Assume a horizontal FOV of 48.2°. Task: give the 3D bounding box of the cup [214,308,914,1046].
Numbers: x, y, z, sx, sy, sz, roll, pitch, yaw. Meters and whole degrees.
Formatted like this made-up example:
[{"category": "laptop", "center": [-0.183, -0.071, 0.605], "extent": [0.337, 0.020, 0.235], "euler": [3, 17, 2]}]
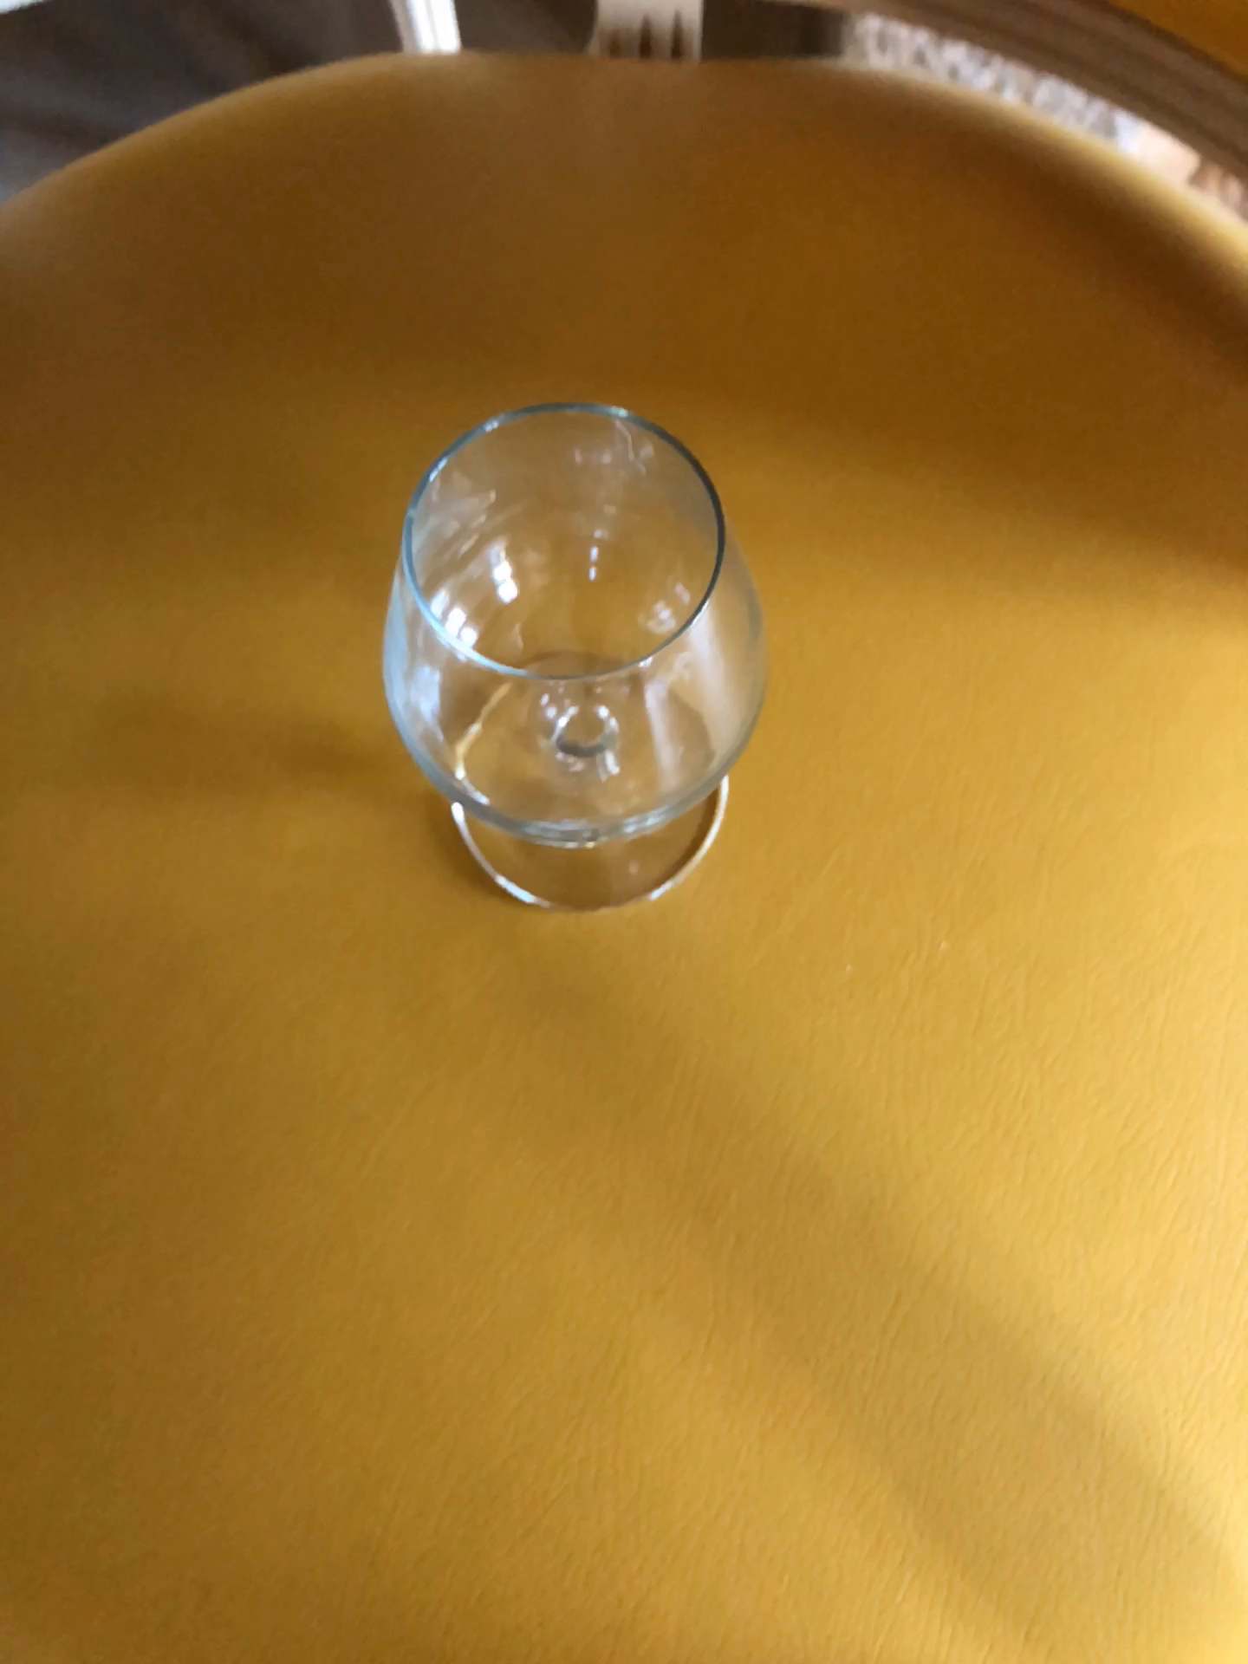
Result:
[{"category": "cup", "center": [-0.010, -0.021, 0.247], "extent": [0.080, 0.090, 0.070], "euler": [-26, 70, -10]}]
